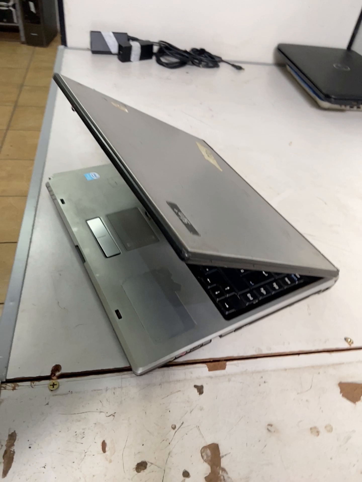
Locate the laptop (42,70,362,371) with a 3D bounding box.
[{"bbox_3d":[0.006,-0.068,0.443,0.254,0.130,0.317,-17,48,-23],"label":"laptop"}]
